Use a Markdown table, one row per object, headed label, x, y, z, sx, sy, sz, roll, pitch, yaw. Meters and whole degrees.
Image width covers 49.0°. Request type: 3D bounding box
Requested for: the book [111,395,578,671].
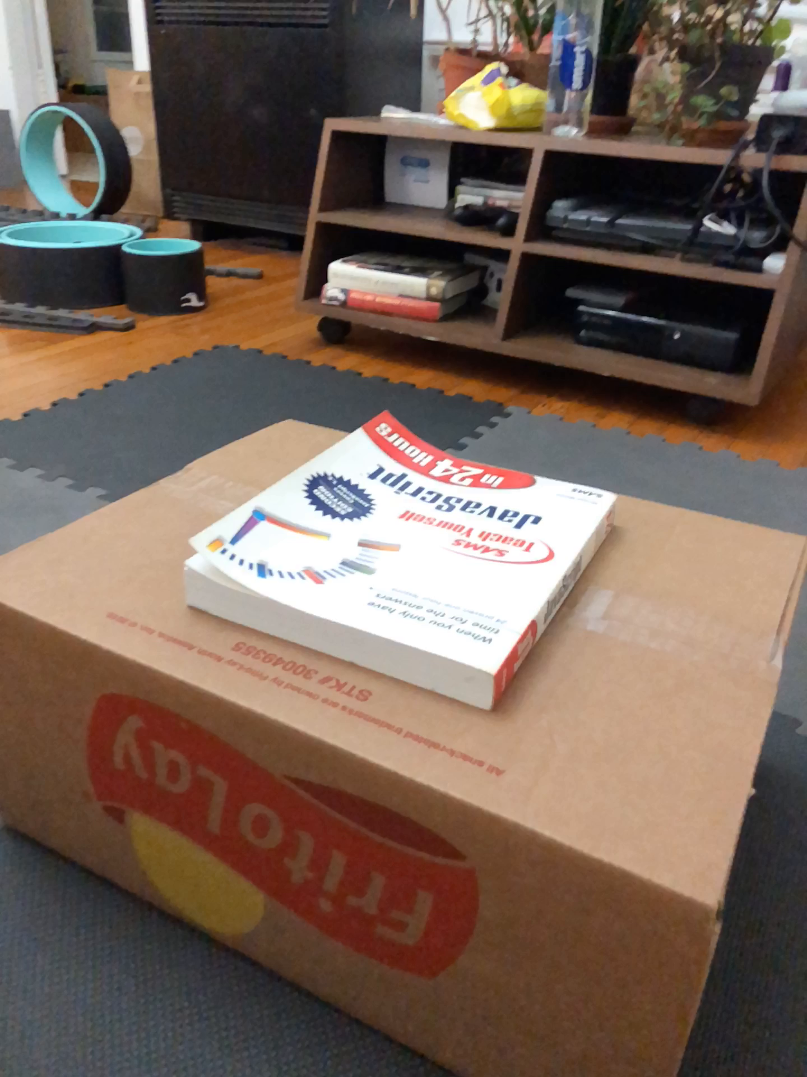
| label | x | y | z | sx | sy | sz | roll | pitch | yaw |
| --- | --- | --- | --- | --- | --- | --- | --- | --- | --- |
| book | -0.022 | -0.023 | 0.564 | 0.200 | 0.030 | 0.241 | 15 | 32 | 22 |
